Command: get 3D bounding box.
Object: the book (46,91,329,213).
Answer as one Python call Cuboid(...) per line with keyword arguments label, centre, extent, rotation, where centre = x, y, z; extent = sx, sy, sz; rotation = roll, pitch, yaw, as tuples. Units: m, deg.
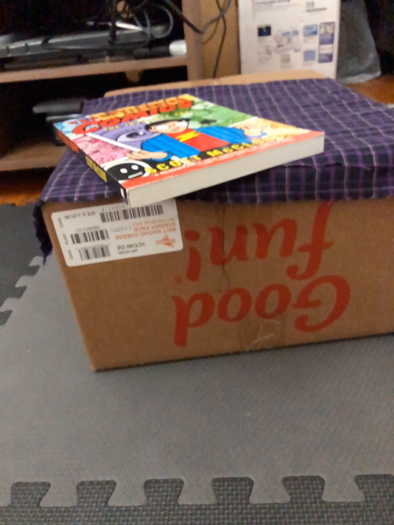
Cuboid(label="book", centre=(-0.033, -0.125, 0.424), extent=(0.170, 0.020, 0.271), rotation=(-19, 33, -20))
